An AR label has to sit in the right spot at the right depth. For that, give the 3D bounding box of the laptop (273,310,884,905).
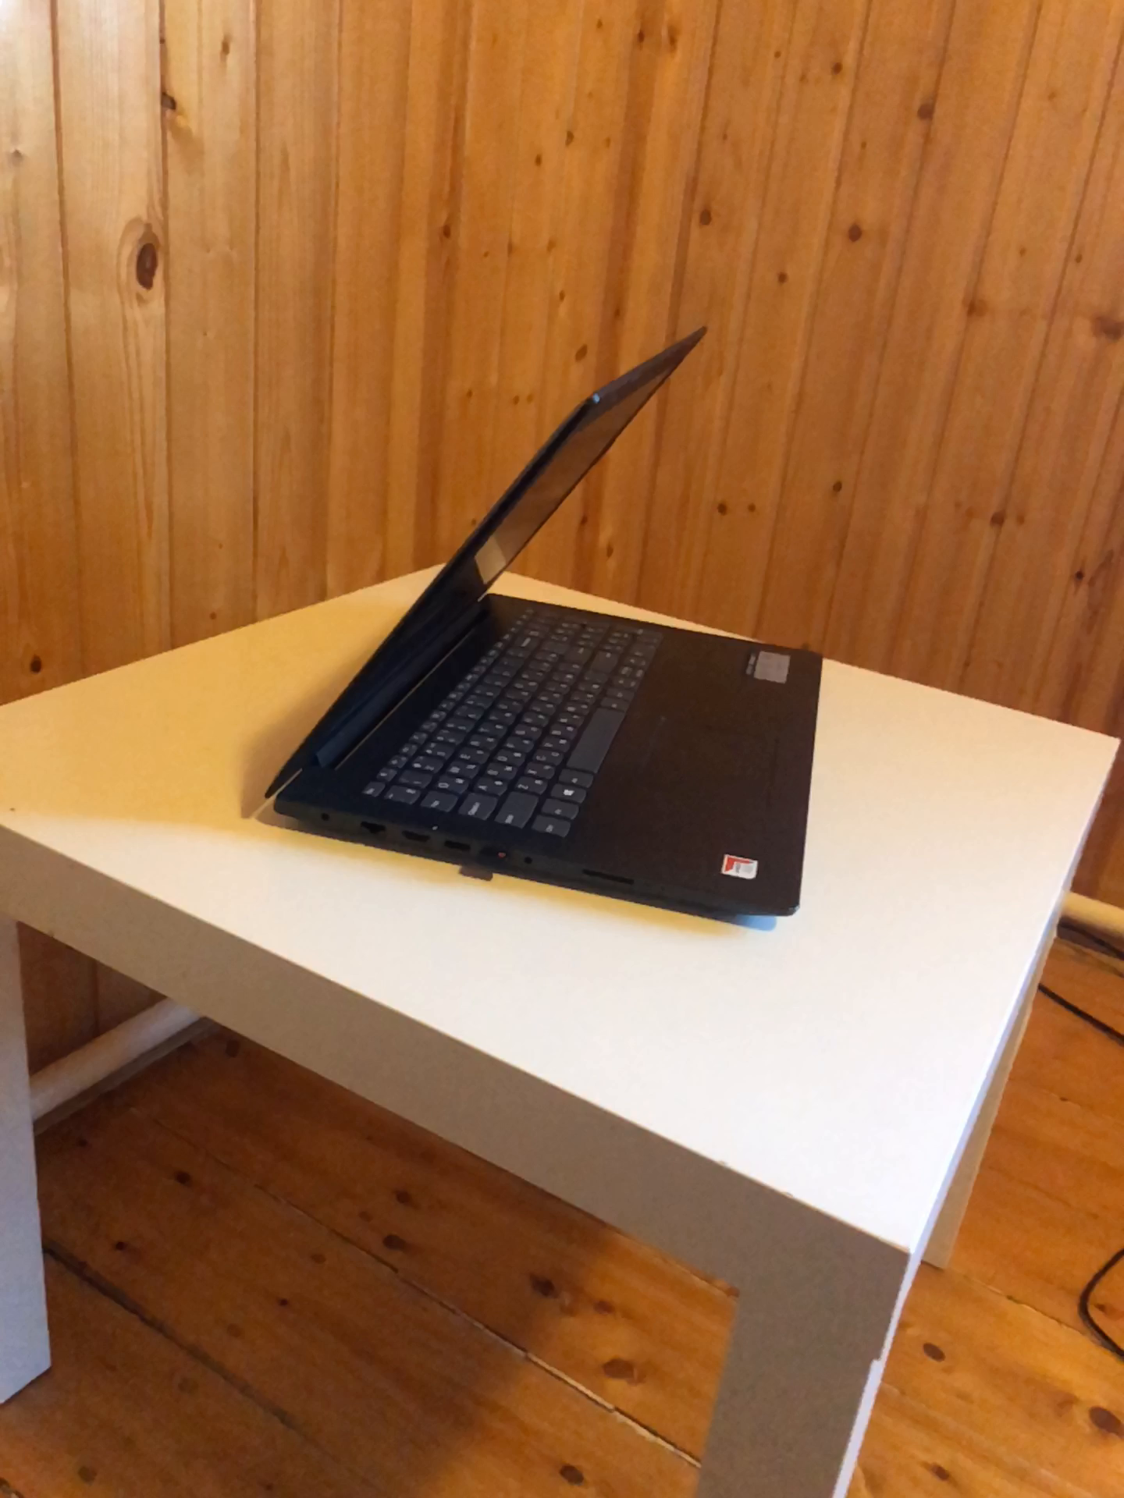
[{"bbox_3d":[0.035,-0.116,0.702,0.249,0.206,0.375,10,24,9],"label":"laptop"}]
